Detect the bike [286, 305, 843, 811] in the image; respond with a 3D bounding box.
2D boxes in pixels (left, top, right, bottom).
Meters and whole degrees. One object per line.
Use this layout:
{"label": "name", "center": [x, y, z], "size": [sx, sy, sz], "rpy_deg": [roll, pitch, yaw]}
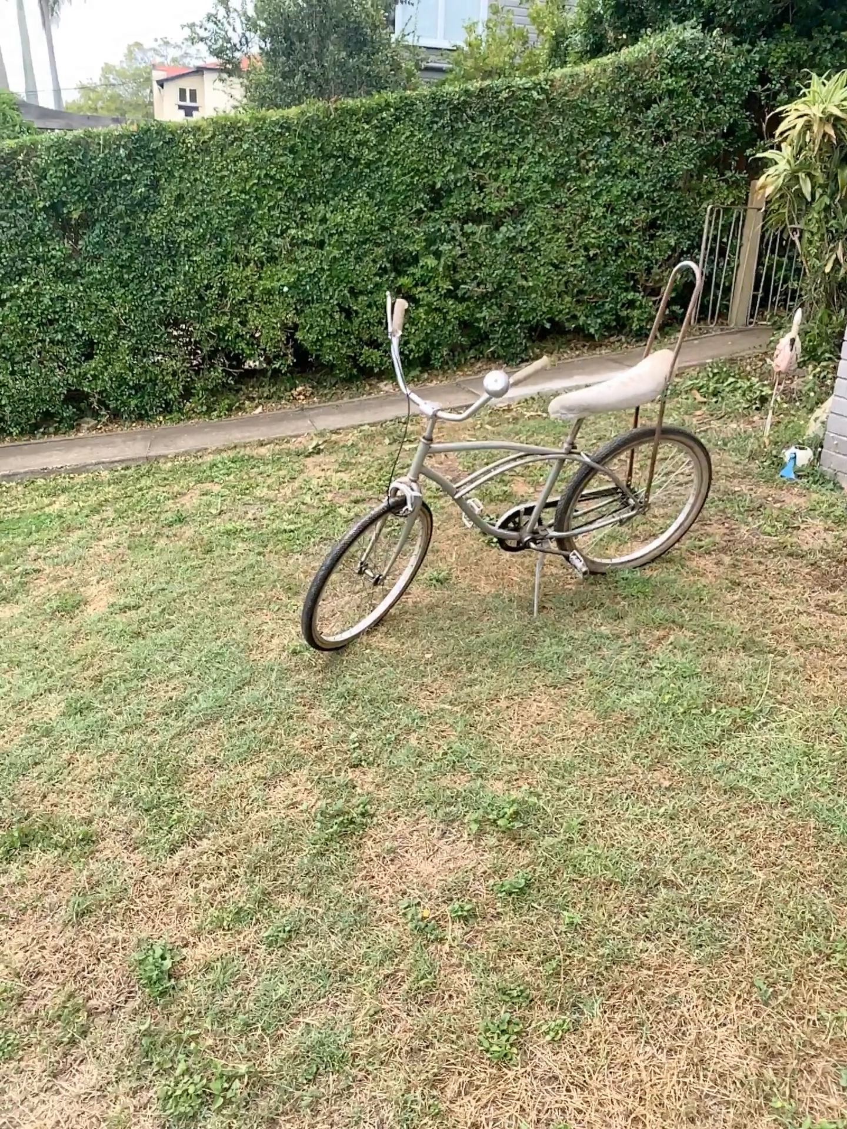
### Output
{"label": "bike", "center": [0.403, -0.150, 2.930], "size": [1.600, 0.991, 0.803], "rpy_deg": [-16, 25, -20]}
